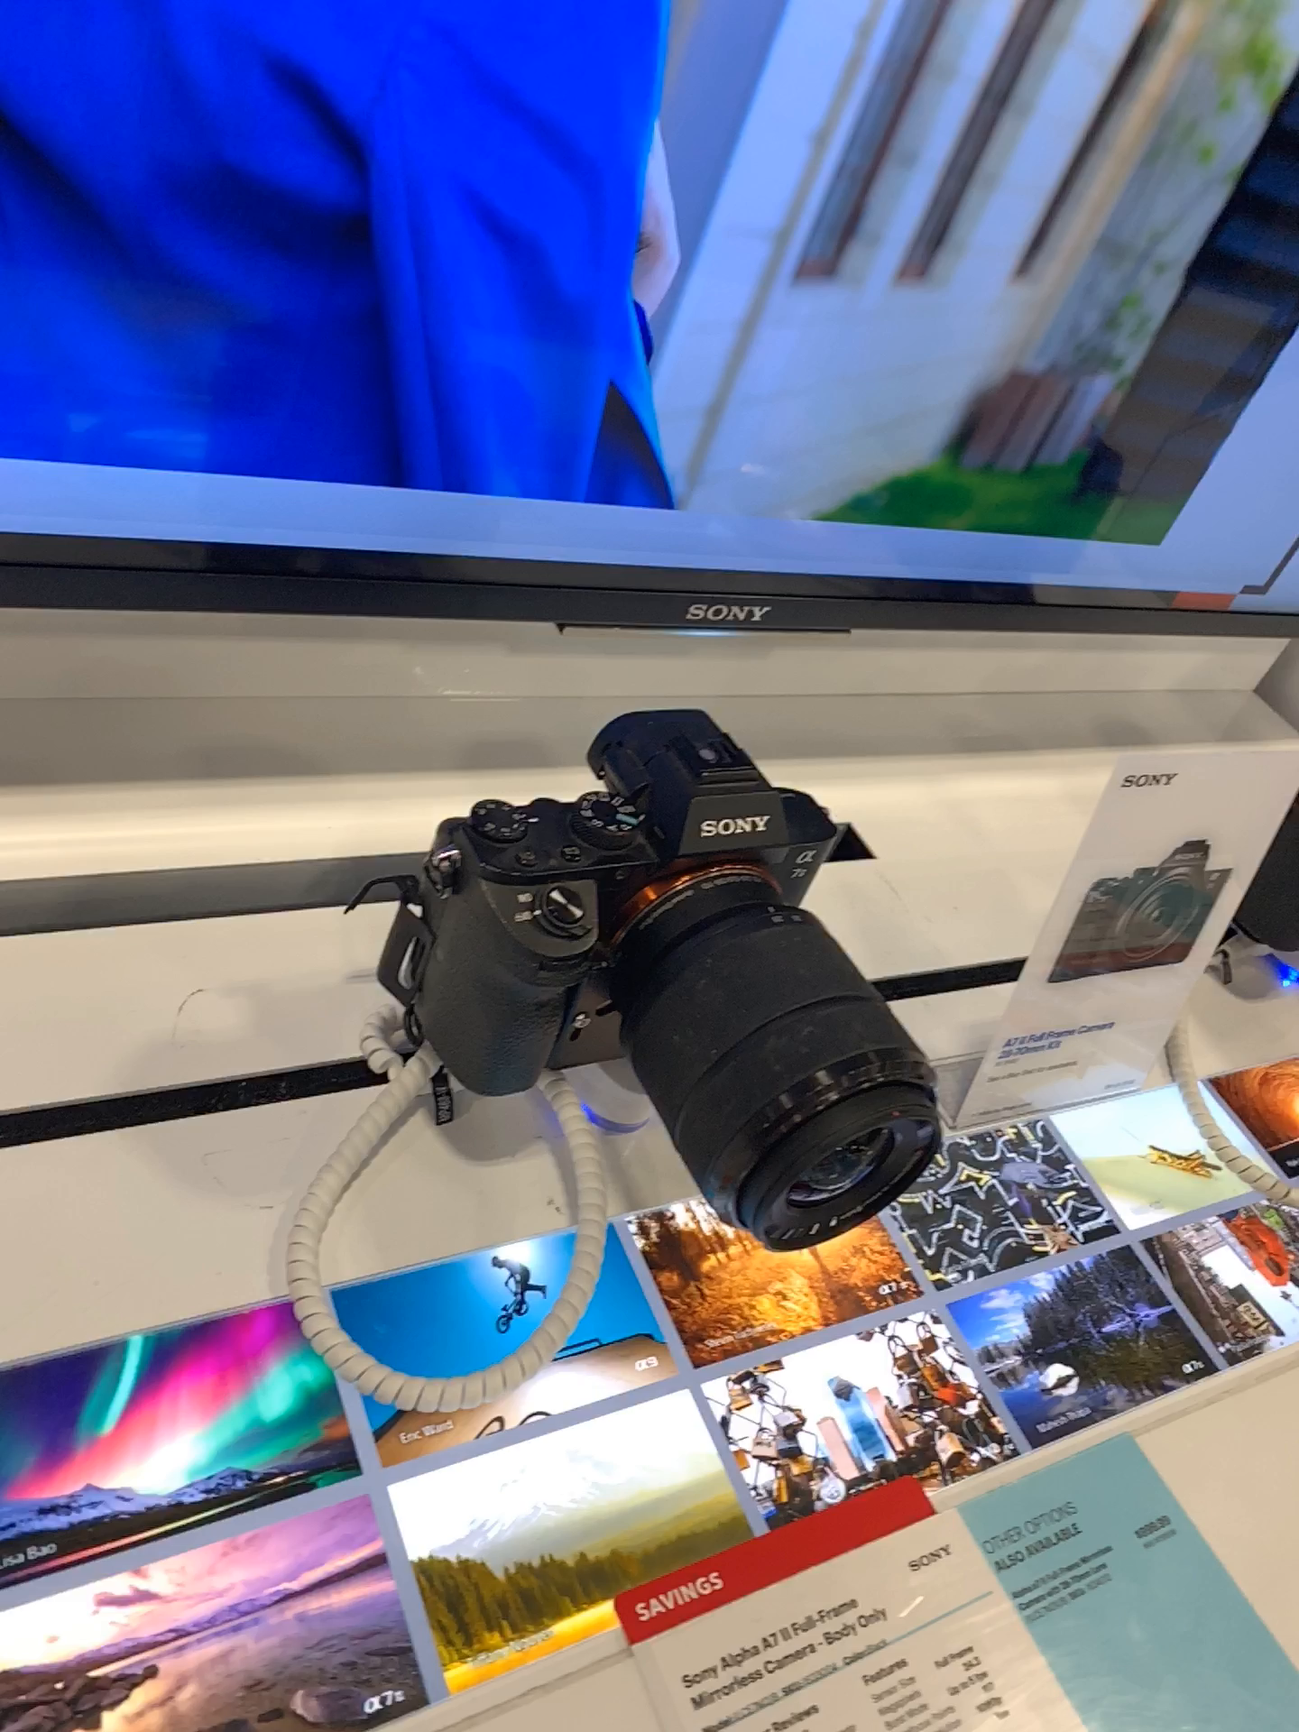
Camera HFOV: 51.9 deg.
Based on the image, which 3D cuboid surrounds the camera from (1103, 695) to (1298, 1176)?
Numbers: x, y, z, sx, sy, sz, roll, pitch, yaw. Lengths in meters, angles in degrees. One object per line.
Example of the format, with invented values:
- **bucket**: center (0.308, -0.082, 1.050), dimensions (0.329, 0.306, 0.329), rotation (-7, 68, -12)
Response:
- **camera**: center (0.332, 0.021, 0.598), dimensions (0.140, 0.099, 0.181), rotation (-6, 47, -31)

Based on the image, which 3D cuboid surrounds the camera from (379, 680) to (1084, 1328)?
- **camera**: center (0.014, 0.027, 0.384), dimensions (0.128, 0.084, 0.150), rotation (-6, 47, -31)
